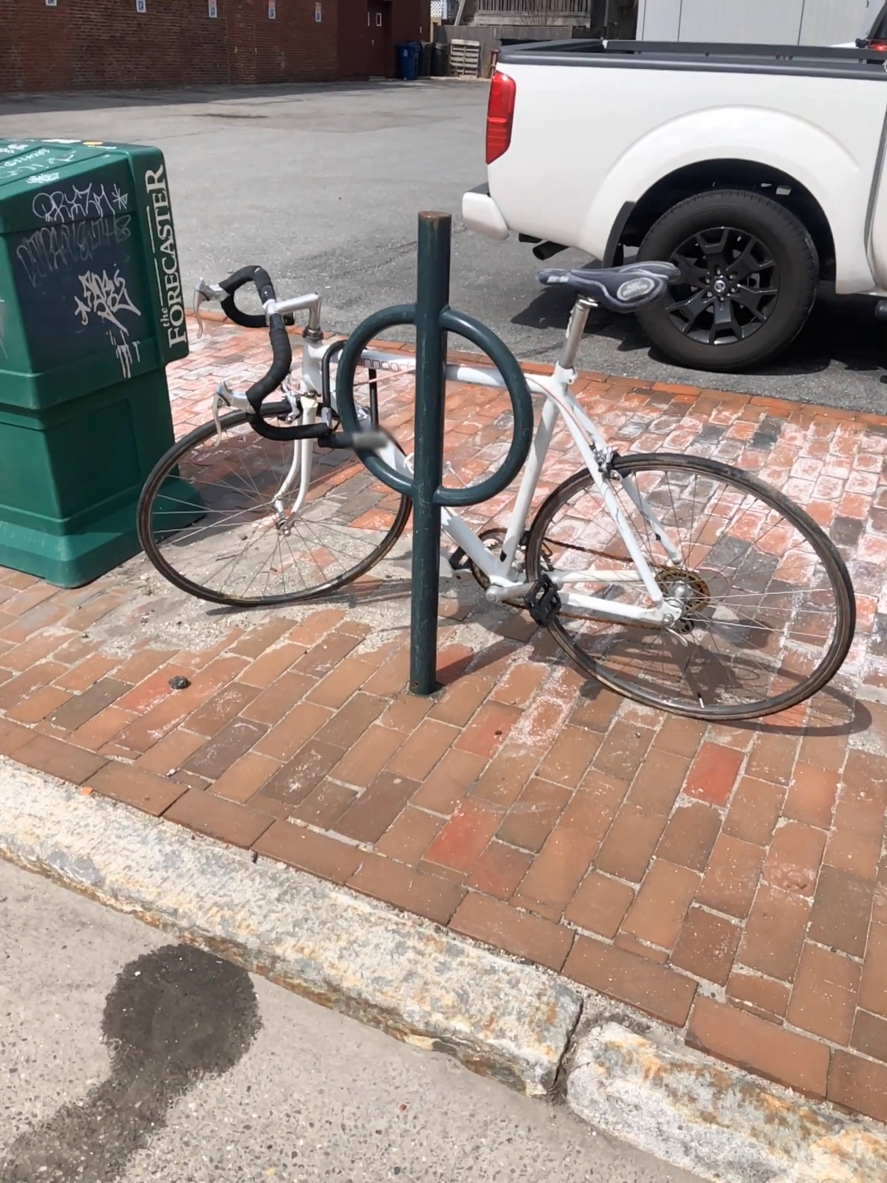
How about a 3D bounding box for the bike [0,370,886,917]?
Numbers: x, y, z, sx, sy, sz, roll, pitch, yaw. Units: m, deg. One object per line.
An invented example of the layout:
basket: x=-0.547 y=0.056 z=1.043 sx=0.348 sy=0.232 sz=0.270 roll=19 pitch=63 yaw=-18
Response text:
bike: x=-0.012 y=0.031 z=1.611 sx=1.274 sy=0.650 sz=0.467 roll=7 pitch=29 yaw=16
